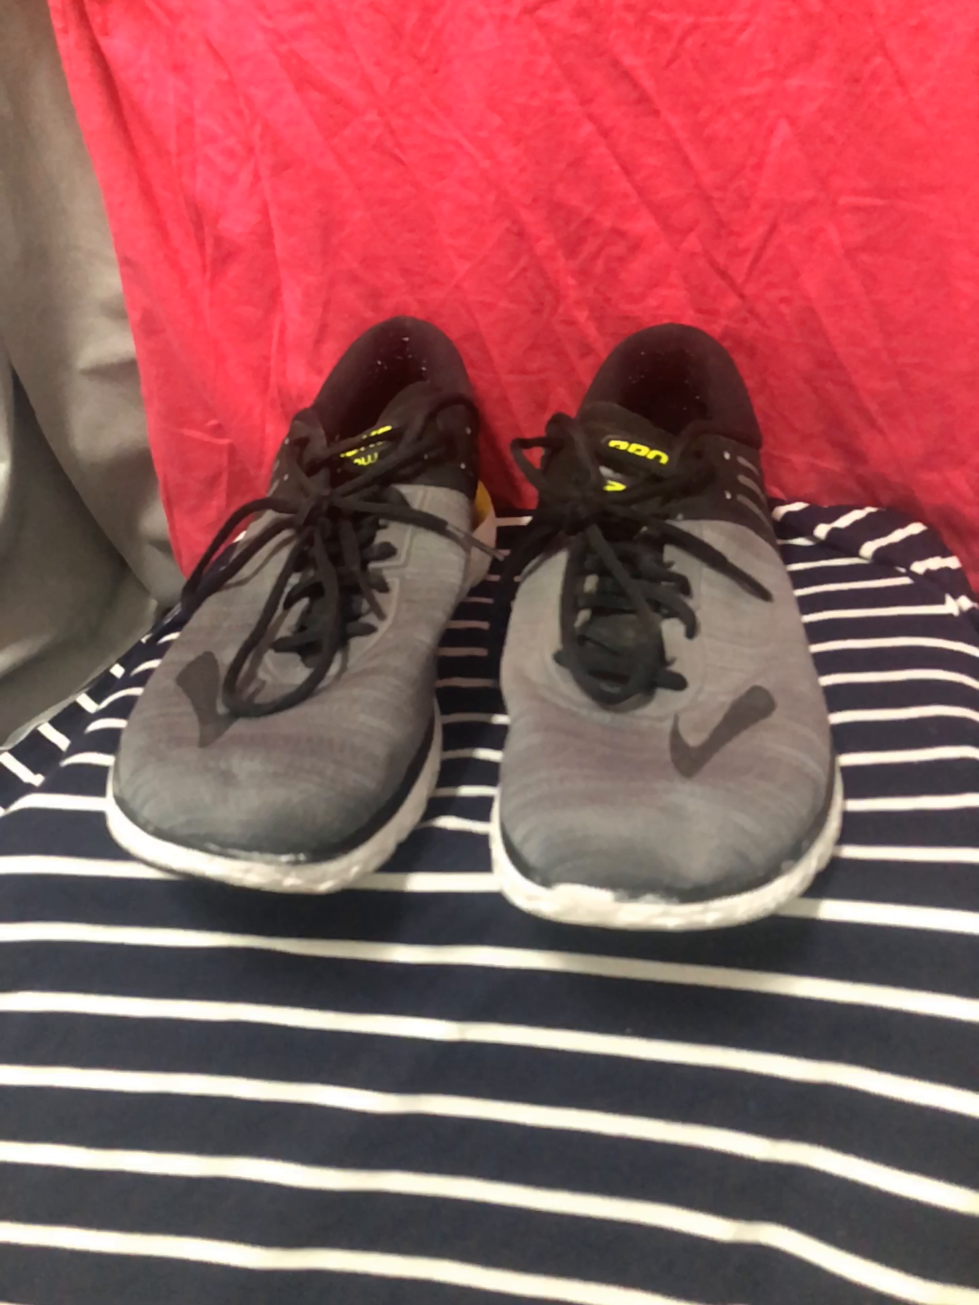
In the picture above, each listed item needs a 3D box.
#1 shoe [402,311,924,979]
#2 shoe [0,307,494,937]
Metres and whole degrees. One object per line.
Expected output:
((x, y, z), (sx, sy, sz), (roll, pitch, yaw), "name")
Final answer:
((0.052, -0.034, 0.353), (0.104, 0.079, 0.282), (1, 33, 7), "shoe")
((-0.065, -0.041, 0.375), (0.102, 0.079, 0.293), (1, 32, 6), "shoe")
